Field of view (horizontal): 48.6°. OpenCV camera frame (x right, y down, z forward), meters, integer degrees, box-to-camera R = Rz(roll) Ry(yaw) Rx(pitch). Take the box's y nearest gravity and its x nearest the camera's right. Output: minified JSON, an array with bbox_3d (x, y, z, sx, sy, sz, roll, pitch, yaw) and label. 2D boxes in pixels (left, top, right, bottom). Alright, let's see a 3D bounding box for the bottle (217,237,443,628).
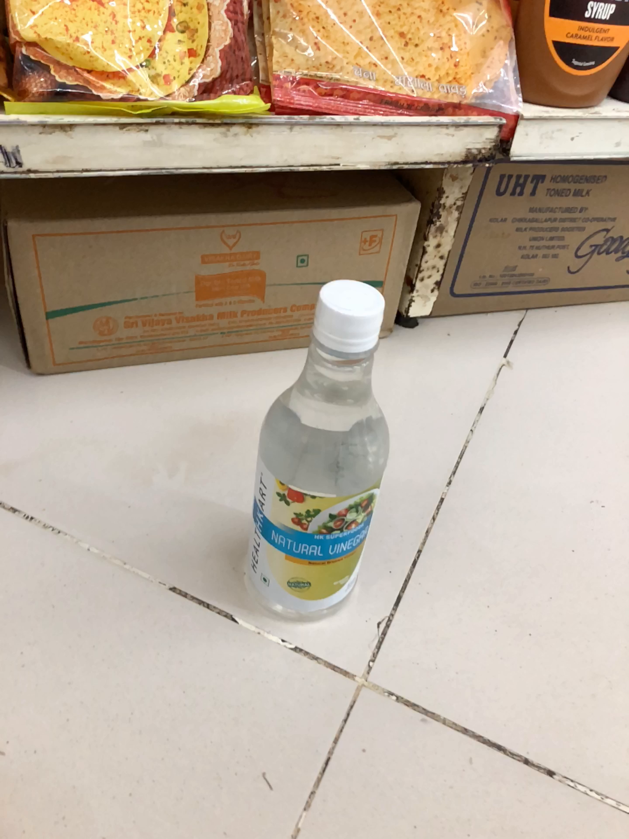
[{"bbox_3d":[0.000,0.016,0.389,0.090,0.199,0.091,5,41,-4],"label":"bottle"}]
